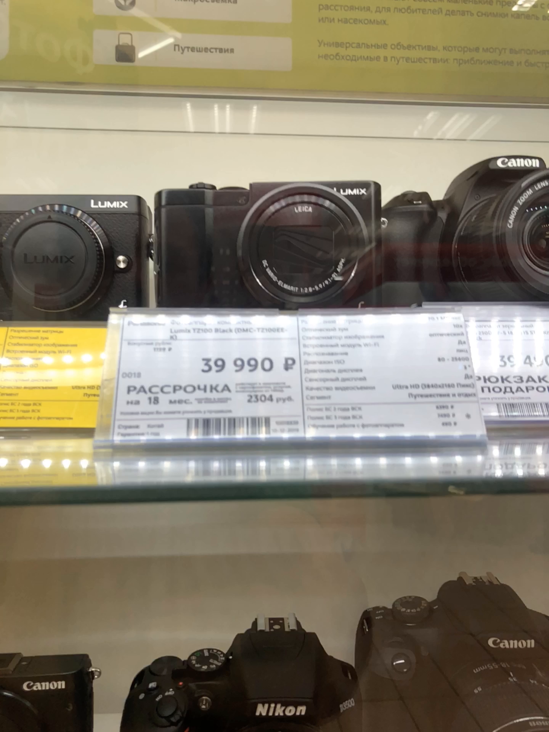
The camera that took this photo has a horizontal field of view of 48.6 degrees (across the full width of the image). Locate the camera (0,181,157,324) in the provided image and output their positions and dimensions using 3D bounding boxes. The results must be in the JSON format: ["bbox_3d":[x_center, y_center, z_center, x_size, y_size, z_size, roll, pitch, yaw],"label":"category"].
[{"bbox_3d":[-0.123,-0.059,0.335,0.108,0.068,0.055,0,0,-2],"label":"camera"}]

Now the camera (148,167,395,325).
[{"bbox_3d":[-0.002,-0.055,0.293,0.111,0.068,0.038,0,0,-2],"label":"camera"}]

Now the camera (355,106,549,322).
[{"bbox_3d":[0.143,-0.080,0.380,0.157,0.099,0.164,0,2,-2],"label":"camera"}]
